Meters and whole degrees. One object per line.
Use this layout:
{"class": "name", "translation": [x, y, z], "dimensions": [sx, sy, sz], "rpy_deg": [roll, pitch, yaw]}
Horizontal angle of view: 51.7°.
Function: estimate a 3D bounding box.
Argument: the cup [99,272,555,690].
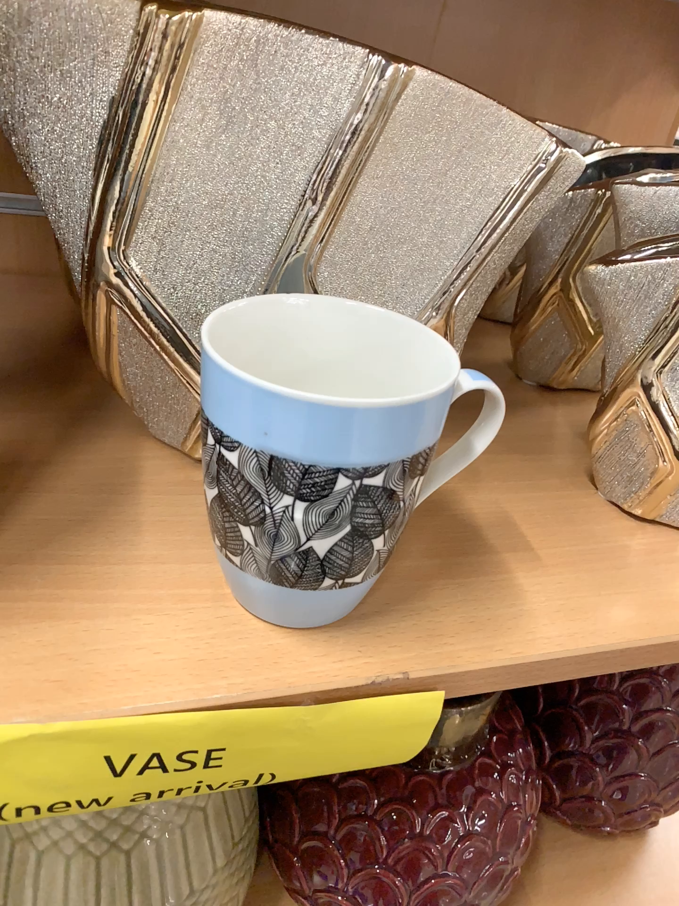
{"class": "cup", "translation": [-0.010, -0.002, 0.228], "dimensions": [0.110, 0.090, 0.080], "rpy_deg": [-10, 34, -31]}
